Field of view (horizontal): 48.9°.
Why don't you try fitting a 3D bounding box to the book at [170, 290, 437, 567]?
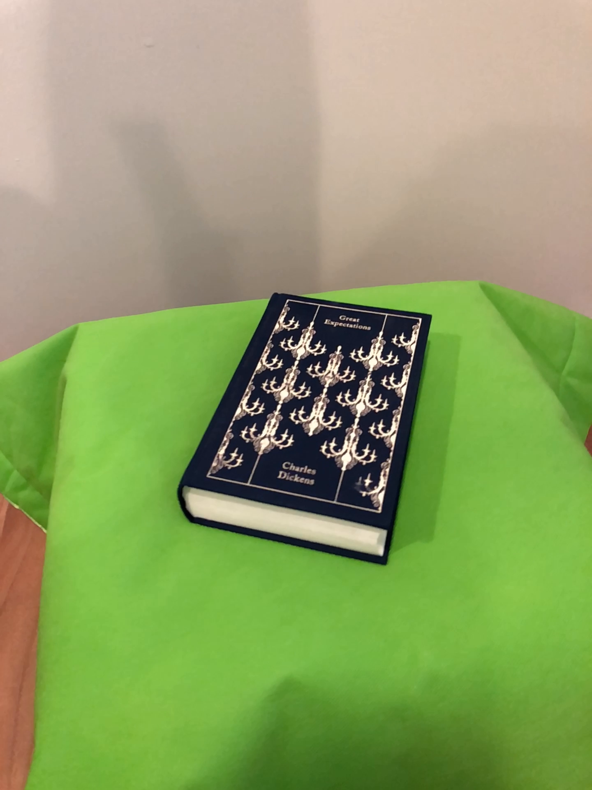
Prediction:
[{"bbox_3d":[0.018,0.009,0.476,0.140,0.040,0.211,10,45,12],"label":"book"}]
